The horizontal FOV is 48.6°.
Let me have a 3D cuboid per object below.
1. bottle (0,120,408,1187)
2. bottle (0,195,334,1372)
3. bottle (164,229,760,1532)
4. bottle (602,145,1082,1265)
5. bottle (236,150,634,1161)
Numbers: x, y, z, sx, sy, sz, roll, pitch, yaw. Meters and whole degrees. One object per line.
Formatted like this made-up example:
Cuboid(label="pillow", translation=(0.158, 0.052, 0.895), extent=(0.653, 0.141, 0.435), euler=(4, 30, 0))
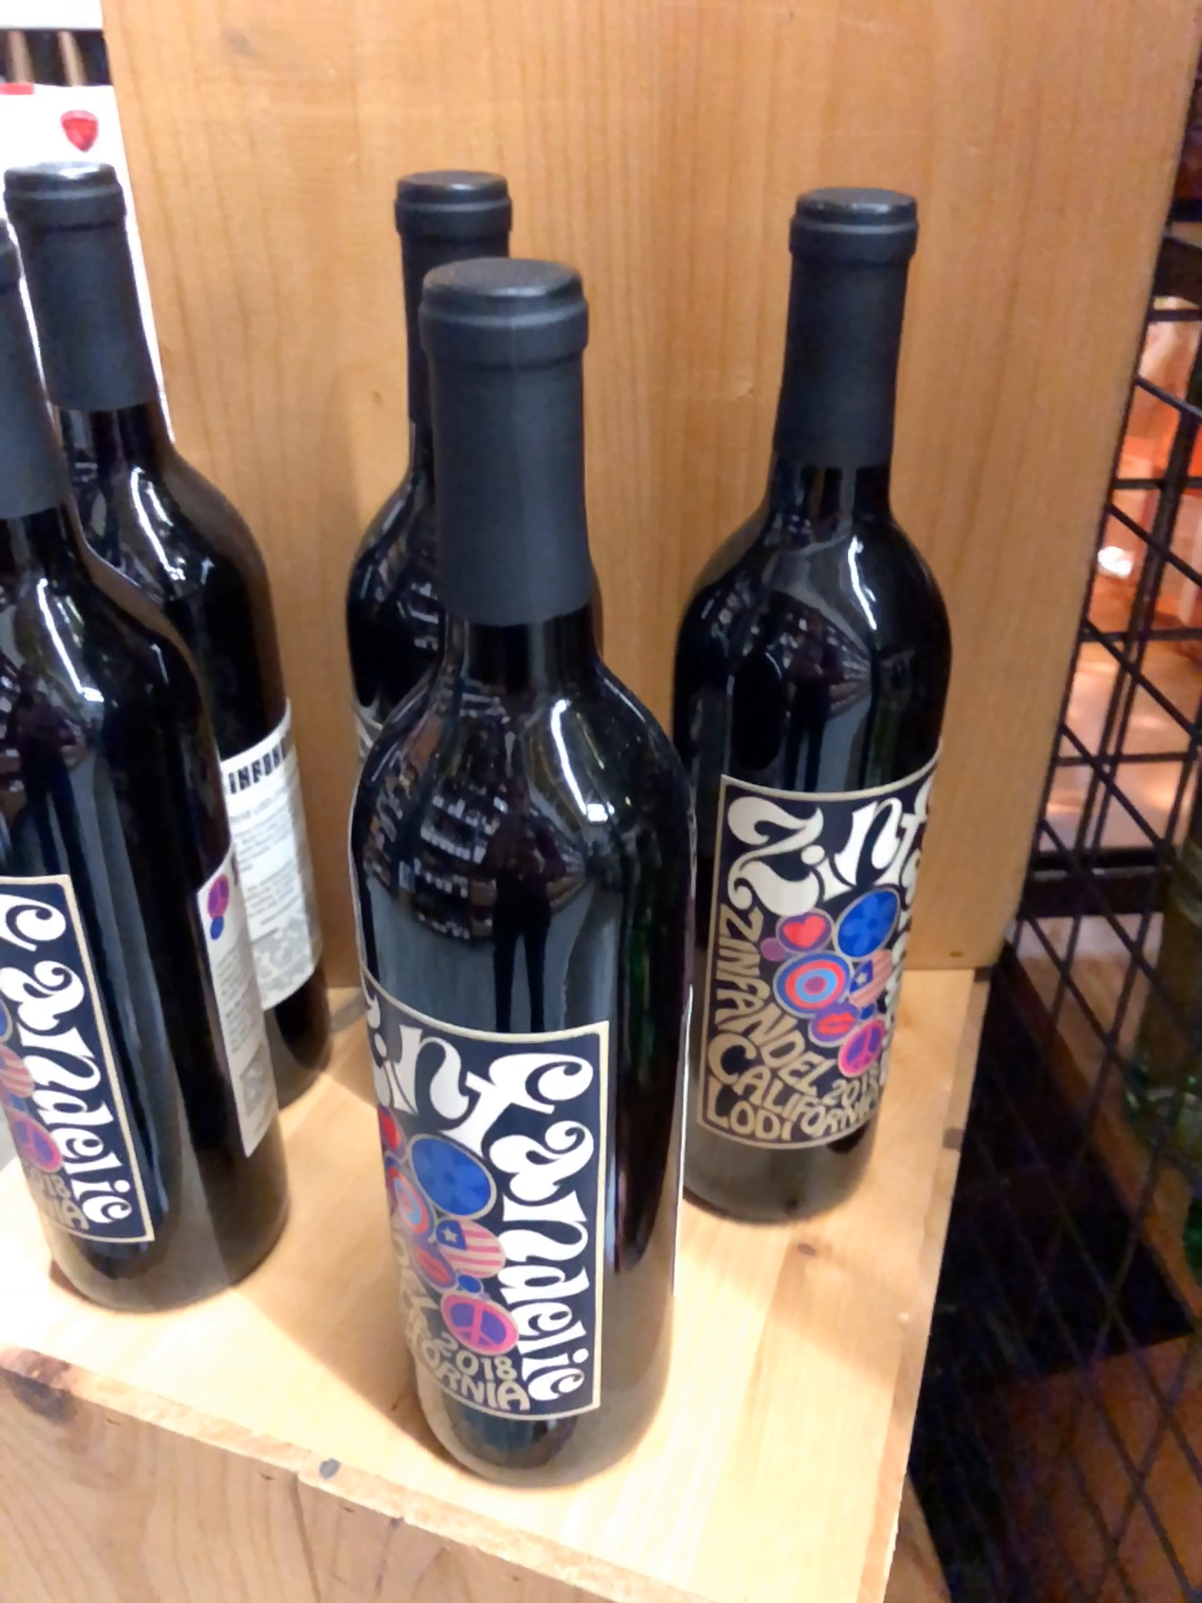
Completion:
Cuboid(label="bottle", translation=(-0.120, -0.031, 0.378), extent=(0.080, 0.280, 0.077), euler=(0, 32, 0))
Cuboid(label="bottle", translation=(-0.142, 0.012, 0.355), extent=(0.080, 0.304, 0.077), euler=(0, 32, 0))
Cuboid(label="bottle", translation=(-0.020, 0.035, 0.295), extent=(0.073, 0.286, 0.070), euler=(0, 32, 0))
Cuboid(label="bottle", translation=(0.050, -0.010, 0.381), extent=(0.080, 0.310, 0.077), euler=(0, 32, 0))
Cuboid(label="bottle", translation=(-0.043, -0.030, 0.383), extent=(0.080, 0.274, 0.077), euler=(0, 32, 0))
